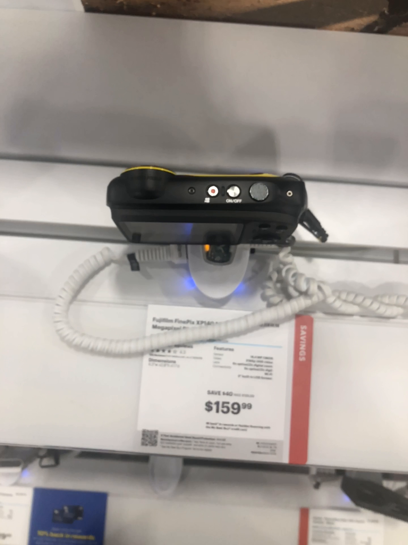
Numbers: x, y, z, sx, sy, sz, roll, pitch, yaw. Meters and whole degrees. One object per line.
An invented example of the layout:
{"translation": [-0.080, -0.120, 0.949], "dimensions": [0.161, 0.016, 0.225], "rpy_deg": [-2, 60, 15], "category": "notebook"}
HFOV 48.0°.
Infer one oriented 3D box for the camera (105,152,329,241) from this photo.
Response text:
{"translation": [0.006, -0.040, 0.262], "dimensions": [0.110, 0.070, 0.030], "rpy_deg": [1, 82, 0], "category": "camera"}
